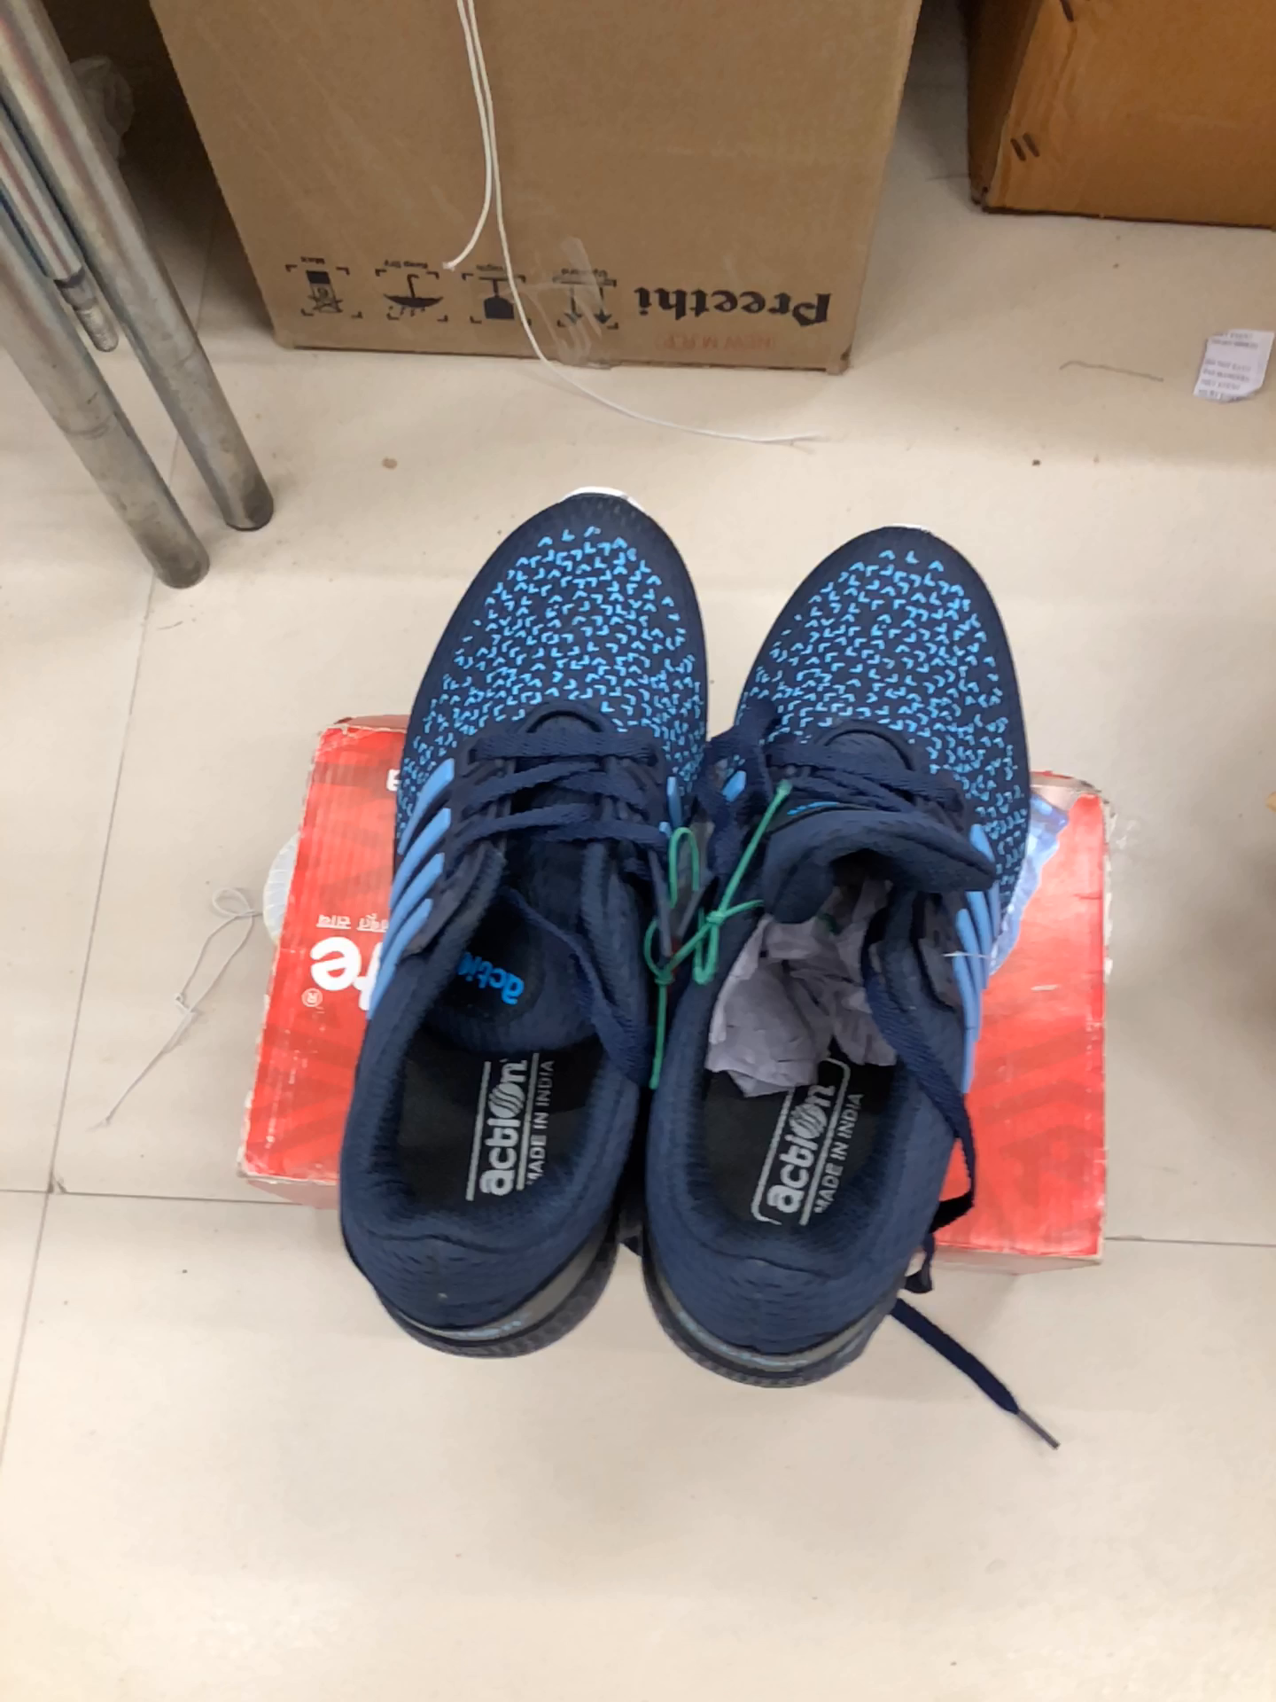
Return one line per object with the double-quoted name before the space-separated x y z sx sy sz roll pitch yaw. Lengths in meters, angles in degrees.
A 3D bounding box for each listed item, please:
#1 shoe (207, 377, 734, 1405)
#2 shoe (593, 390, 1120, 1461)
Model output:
"shoe" -0.033 0.015 0.418 0.101 0.133 0.263 4 71 3
"shoe" 0.063 0.023 0.413 0.093 0.133 0.263 10 72 5
